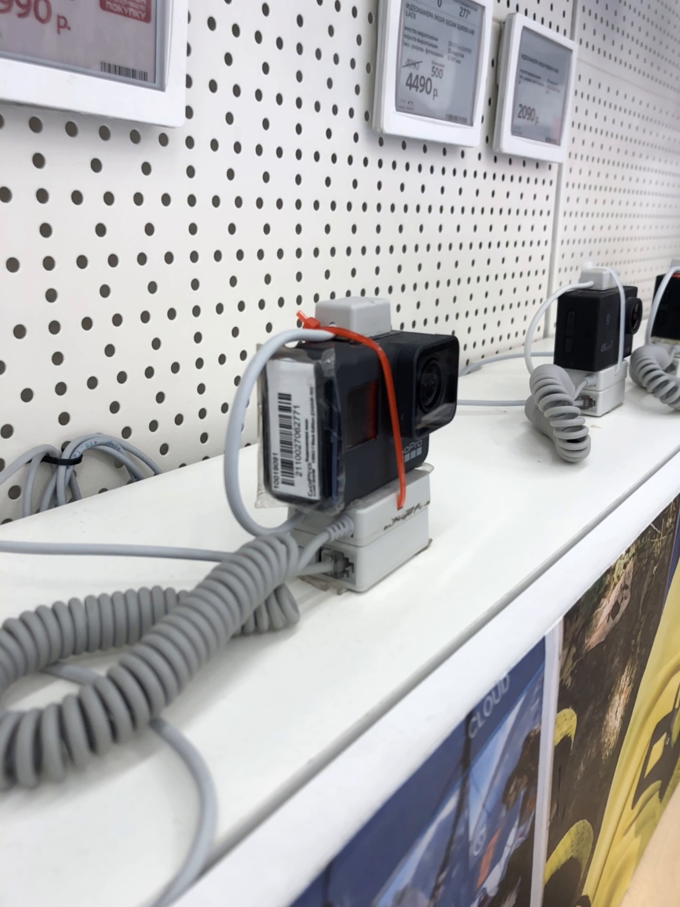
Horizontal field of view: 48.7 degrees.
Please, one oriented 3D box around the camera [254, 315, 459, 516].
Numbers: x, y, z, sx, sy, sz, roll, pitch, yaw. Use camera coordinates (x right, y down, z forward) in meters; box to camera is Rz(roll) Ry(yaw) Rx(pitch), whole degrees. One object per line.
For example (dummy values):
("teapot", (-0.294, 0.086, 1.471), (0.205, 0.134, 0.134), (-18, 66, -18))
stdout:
("camera", (0.007, -0.015, 0.225), (0.029, 0.044, 0.067), (11, 19, 32))
